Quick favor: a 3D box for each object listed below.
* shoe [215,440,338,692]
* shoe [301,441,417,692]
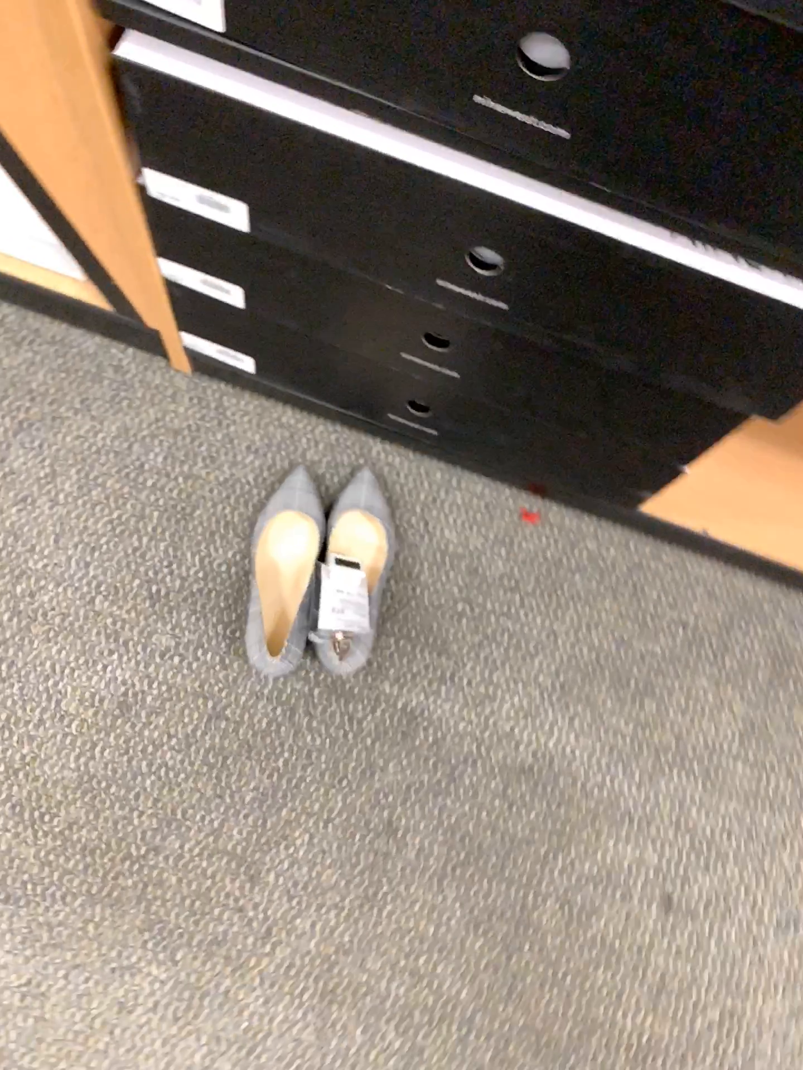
[{"bbox_3d":[-0.127,0.040,0.866,0.090,0.150,0.230,6,76,-5],"label":"shoe"},{"bbox_3d":[-0.047,0.040,0.867,0.090,0.150,0.230,6,76,-5],"label":"shoe"}]
